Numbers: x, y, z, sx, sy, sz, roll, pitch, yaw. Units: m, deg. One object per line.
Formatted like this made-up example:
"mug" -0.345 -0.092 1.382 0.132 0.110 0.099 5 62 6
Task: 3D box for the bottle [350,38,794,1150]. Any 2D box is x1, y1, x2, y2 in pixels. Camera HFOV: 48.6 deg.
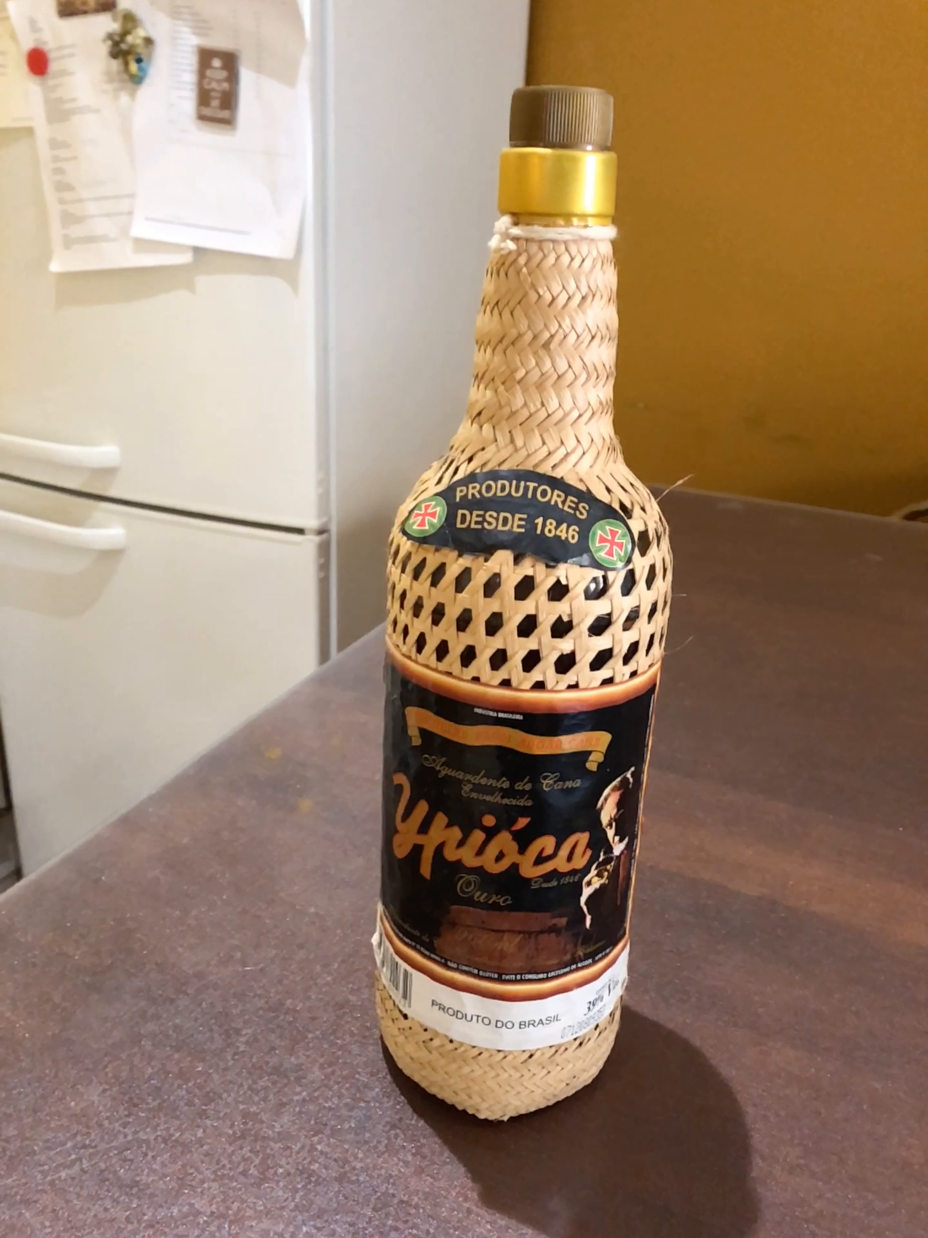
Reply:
"bottle" 0.022 0.006 0.333 0.100 0.328 0.091 4 21 5
